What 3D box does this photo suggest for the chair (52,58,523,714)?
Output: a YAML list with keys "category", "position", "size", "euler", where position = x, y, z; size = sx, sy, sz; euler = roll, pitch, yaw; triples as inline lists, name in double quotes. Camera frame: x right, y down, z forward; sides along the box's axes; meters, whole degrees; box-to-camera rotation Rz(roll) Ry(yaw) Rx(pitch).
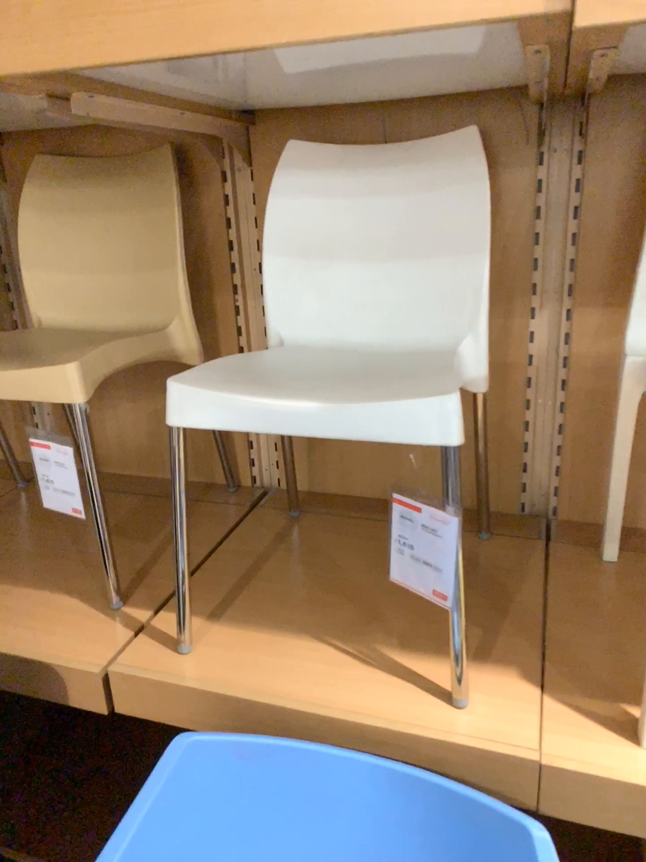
- category: "chair"
  position: [0.037, -0.119, 1.278]
  size: [0.610, 0.917, 0.682]
  euler: [4, 21, 18]
